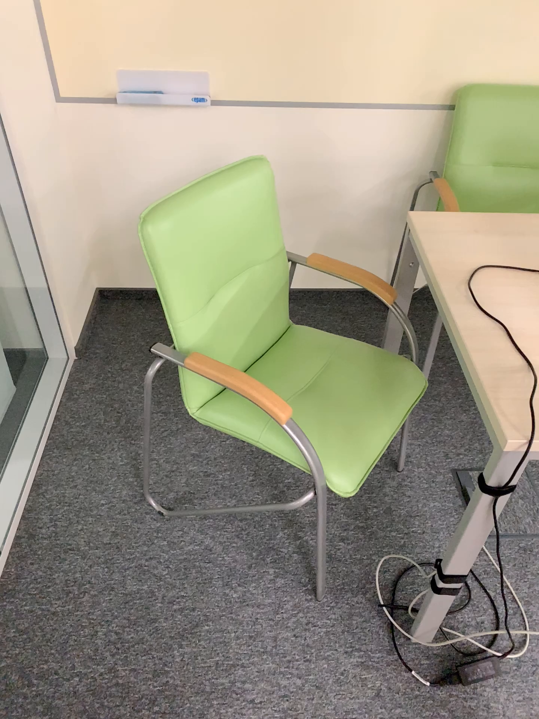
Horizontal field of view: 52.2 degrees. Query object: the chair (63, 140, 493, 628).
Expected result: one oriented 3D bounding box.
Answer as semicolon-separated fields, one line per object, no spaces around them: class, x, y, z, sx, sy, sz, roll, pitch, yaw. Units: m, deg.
chair;0.036;0.039;1.456;0.651;0.895;0.673;25;46;24
